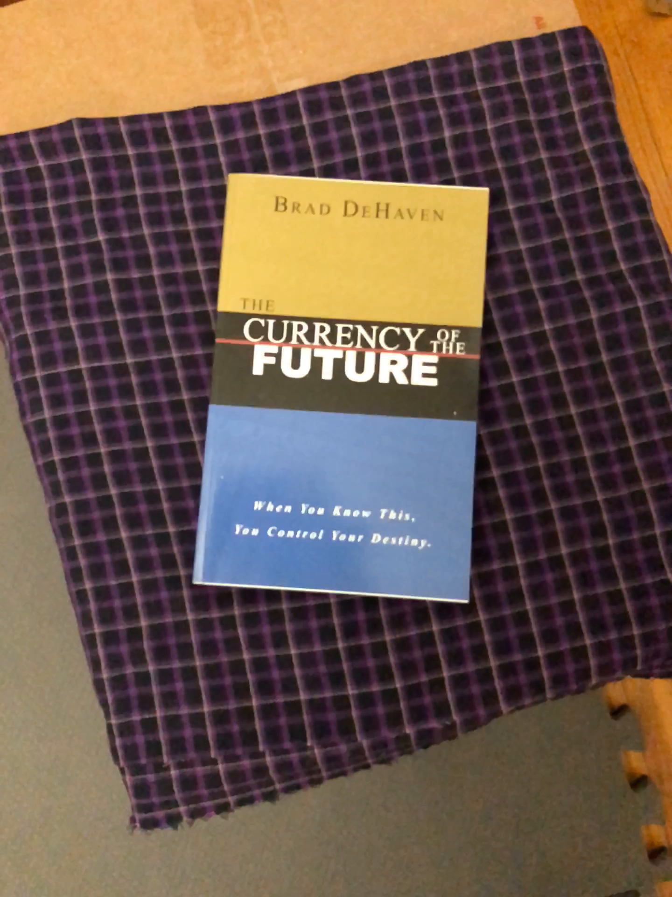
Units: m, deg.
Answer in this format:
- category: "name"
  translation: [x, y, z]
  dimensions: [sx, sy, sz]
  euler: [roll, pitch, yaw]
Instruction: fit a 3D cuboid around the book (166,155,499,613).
- category: "book"
  translation: [0.001, -0.035, 0.379]
  dimensions: [0.150, 0.020, 0.220]
  euler: [4, 84, 2]
